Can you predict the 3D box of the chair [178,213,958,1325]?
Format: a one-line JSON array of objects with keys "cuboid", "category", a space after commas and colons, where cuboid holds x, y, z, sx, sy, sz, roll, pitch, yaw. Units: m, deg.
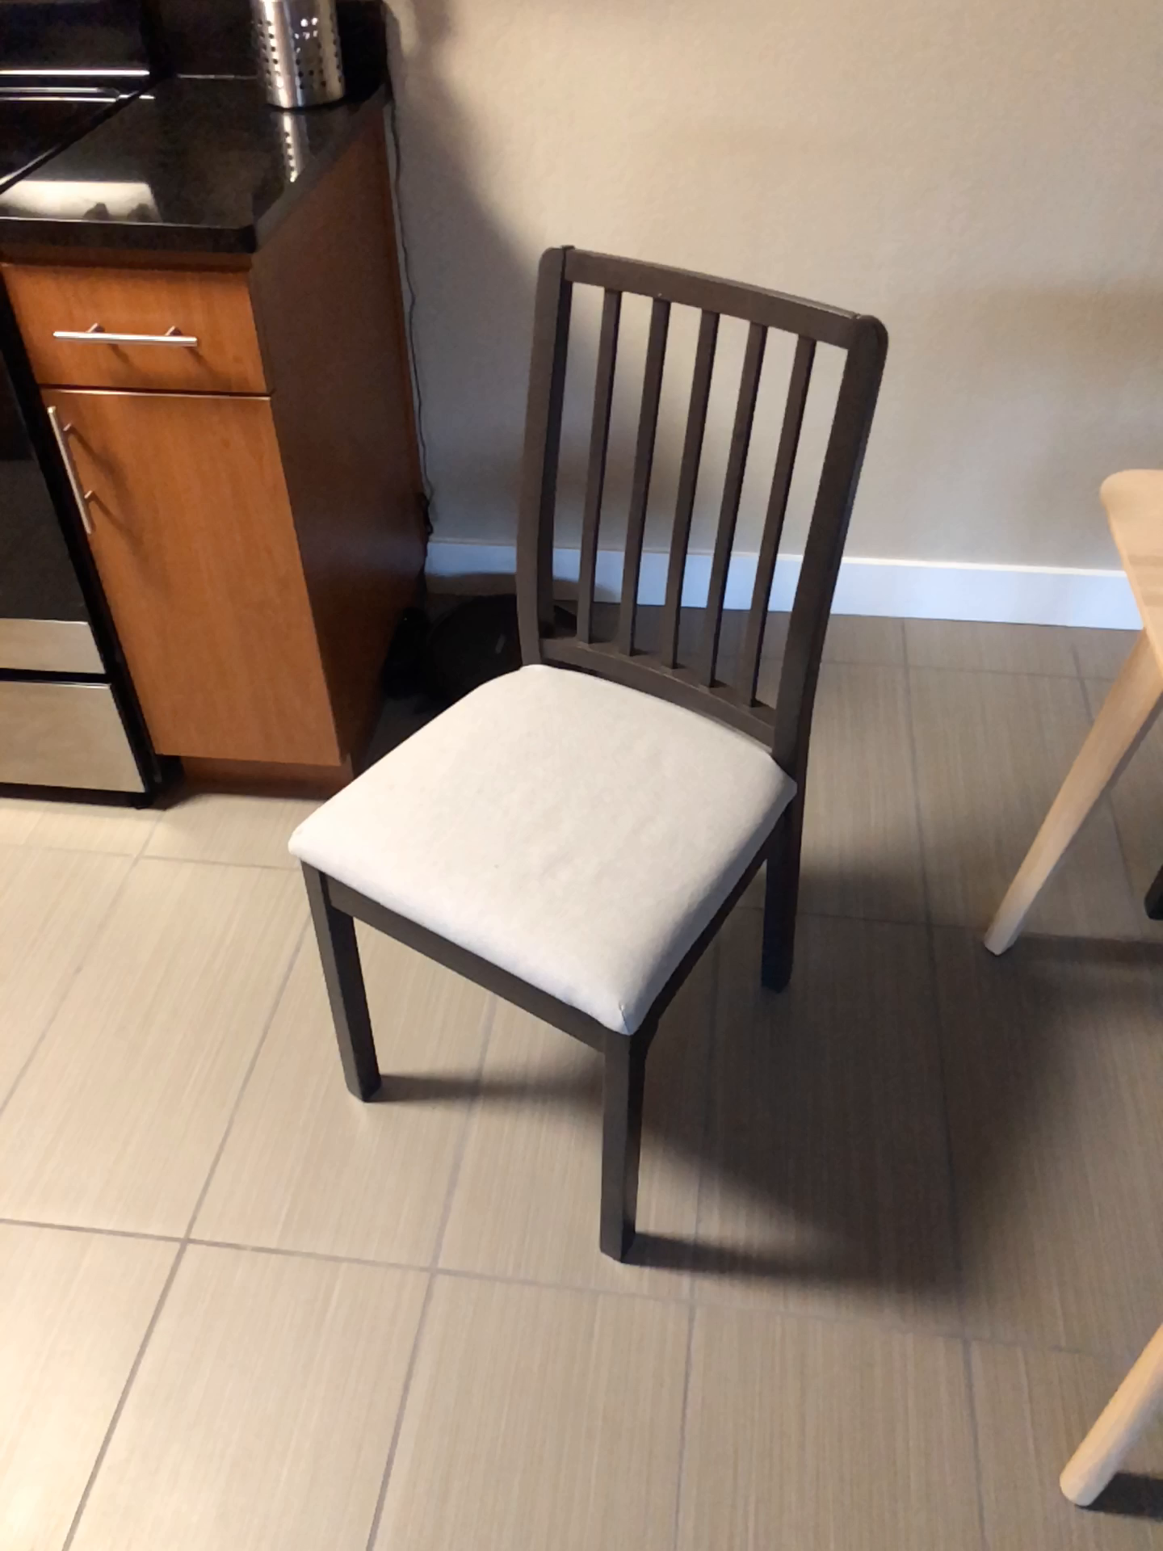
[{"cuboid": [0.007, 0.038, 1.505, 0.481, 1.125, 0.511, 27, 48, 28], "category": "chair"}]
